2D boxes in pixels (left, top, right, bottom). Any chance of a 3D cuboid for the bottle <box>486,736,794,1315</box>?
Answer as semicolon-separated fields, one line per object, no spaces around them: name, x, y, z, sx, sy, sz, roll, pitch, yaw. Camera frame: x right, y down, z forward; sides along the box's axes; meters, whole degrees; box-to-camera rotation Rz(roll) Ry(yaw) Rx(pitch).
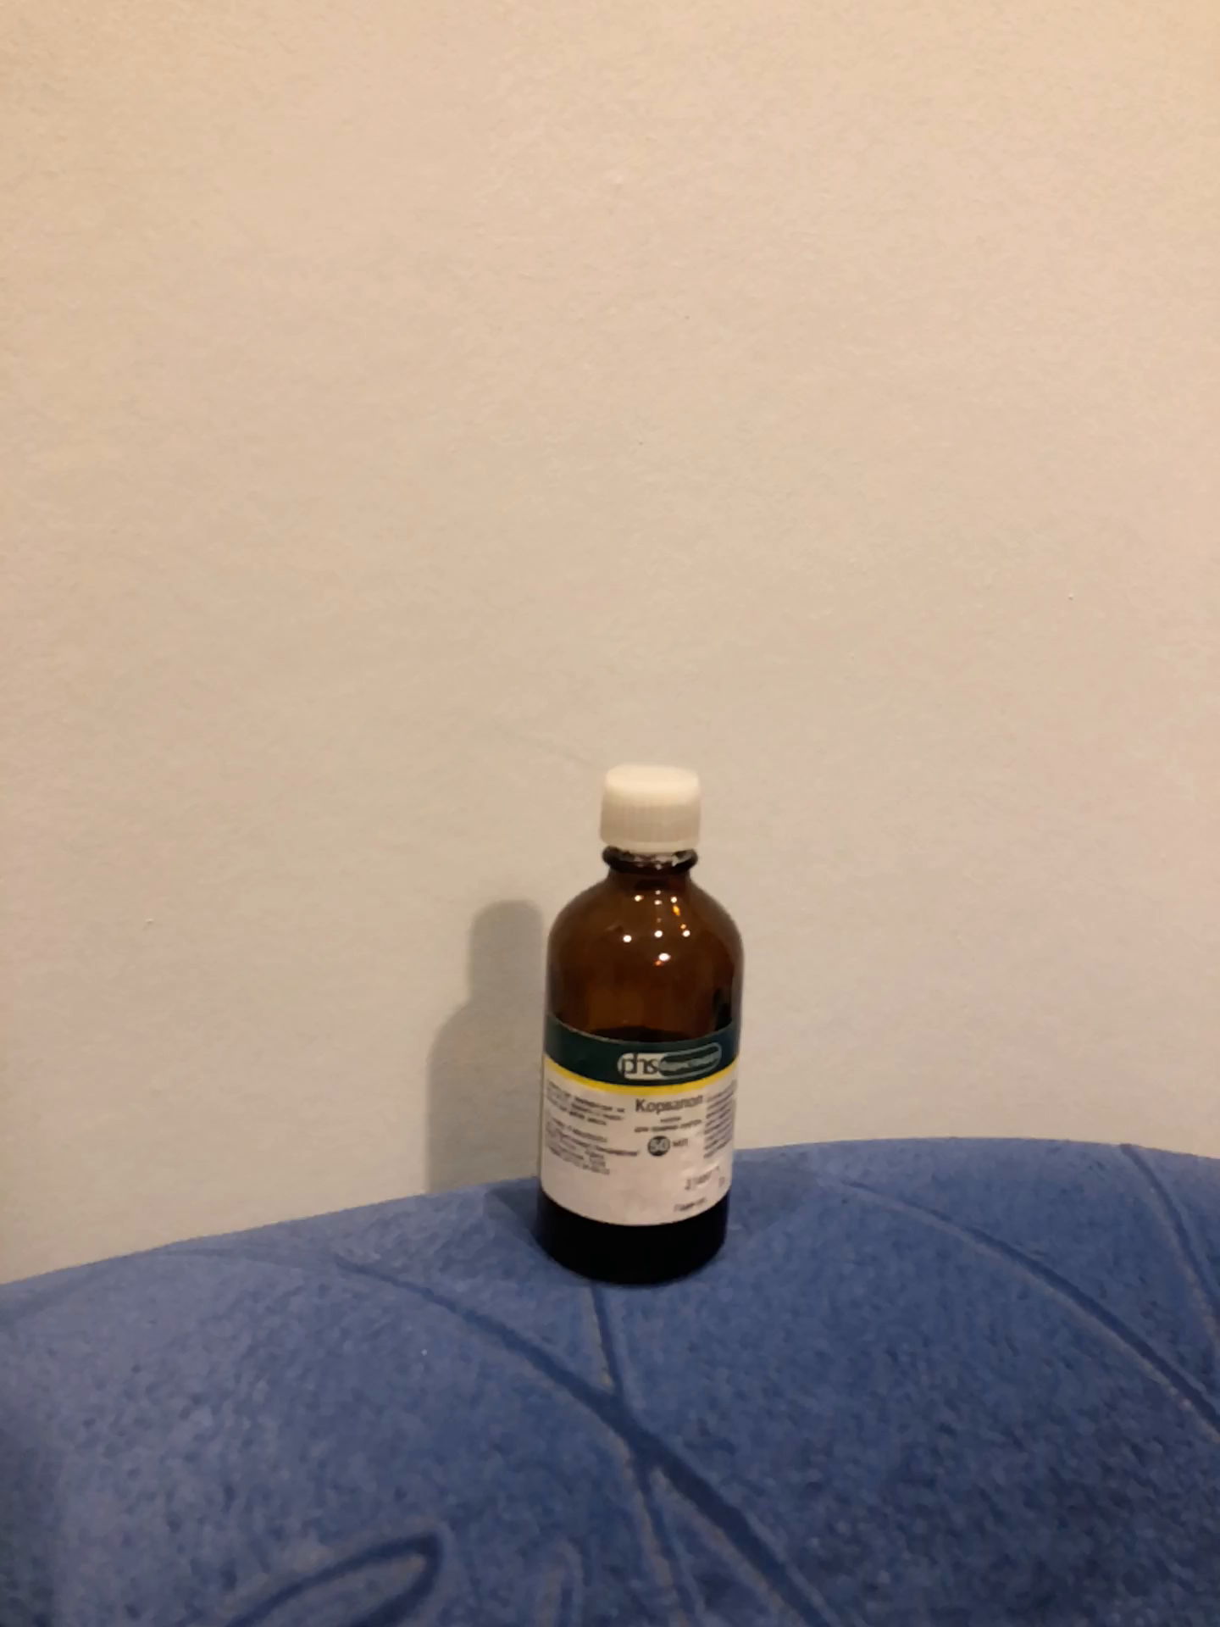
bottle;0.003;0.038;0.263;0.045;0.100;0.040;-2;13;-20
